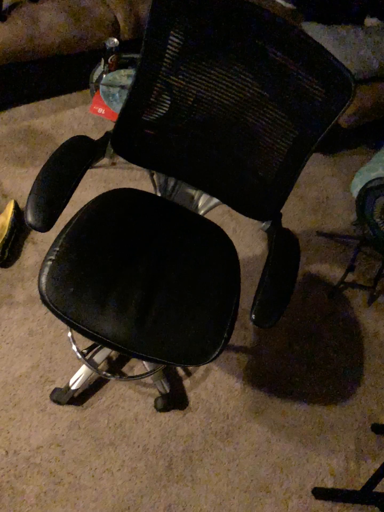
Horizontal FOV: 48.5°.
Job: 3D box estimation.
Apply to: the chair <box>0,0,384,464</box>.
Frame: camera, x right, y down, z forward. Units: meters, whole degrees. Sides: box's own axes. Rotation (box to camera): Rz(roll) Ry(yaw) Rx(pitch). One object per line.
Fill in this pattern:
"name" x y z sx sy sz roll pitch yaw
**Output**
"chair" -0.080 -0.043 1.262 0.760 1.170 0.930 24 58 -3
